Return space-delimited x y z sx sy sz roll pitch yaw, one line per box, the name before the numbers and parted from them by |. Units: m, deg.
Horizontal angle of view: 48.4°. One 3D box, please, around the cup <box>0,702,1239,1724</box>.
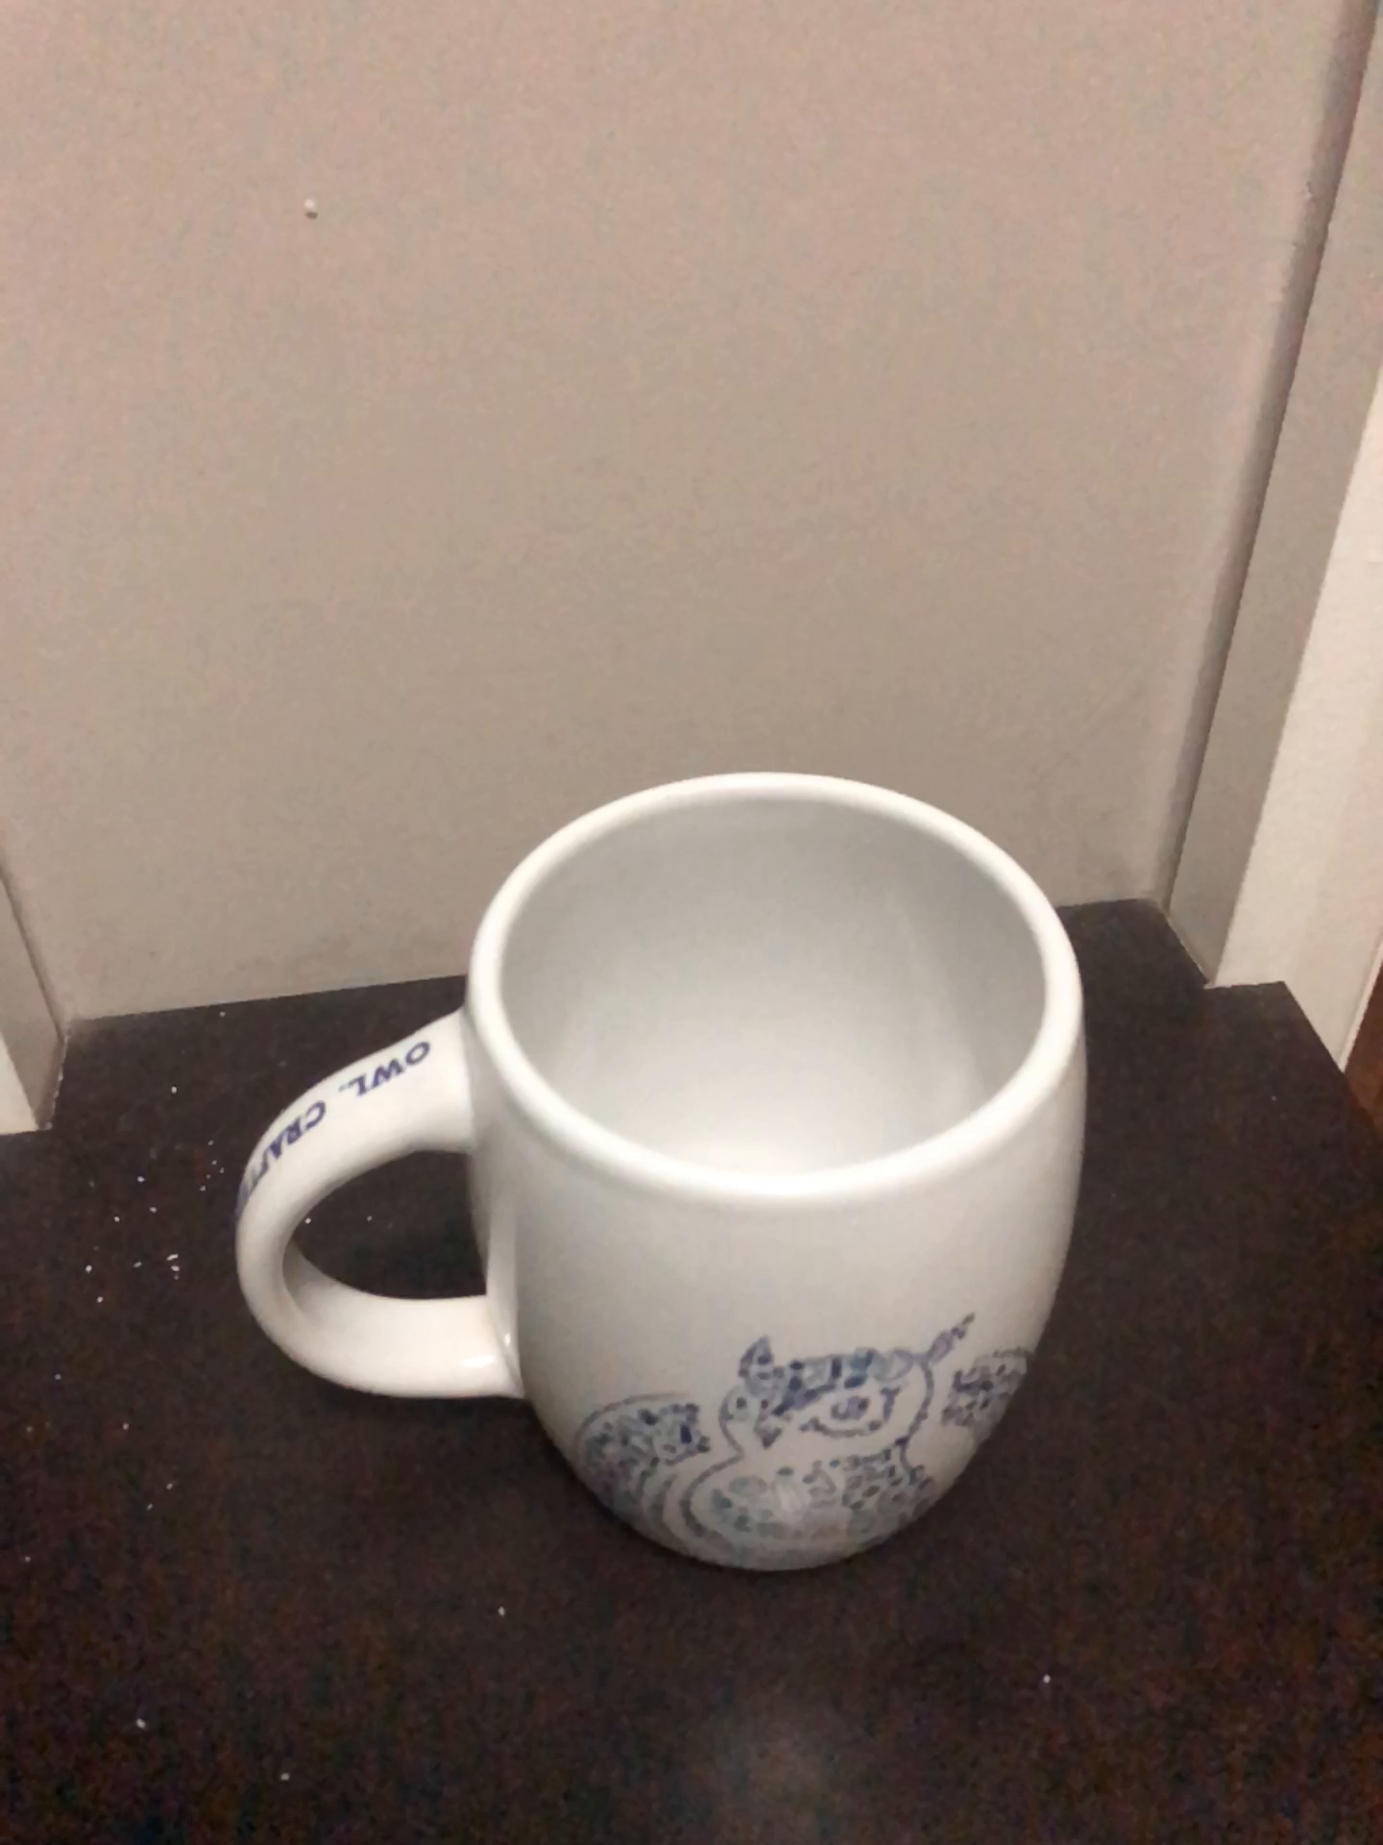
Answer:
cup | -0.014 0.034 0.217 0.130 0.079 0.101 -5 39 -6
